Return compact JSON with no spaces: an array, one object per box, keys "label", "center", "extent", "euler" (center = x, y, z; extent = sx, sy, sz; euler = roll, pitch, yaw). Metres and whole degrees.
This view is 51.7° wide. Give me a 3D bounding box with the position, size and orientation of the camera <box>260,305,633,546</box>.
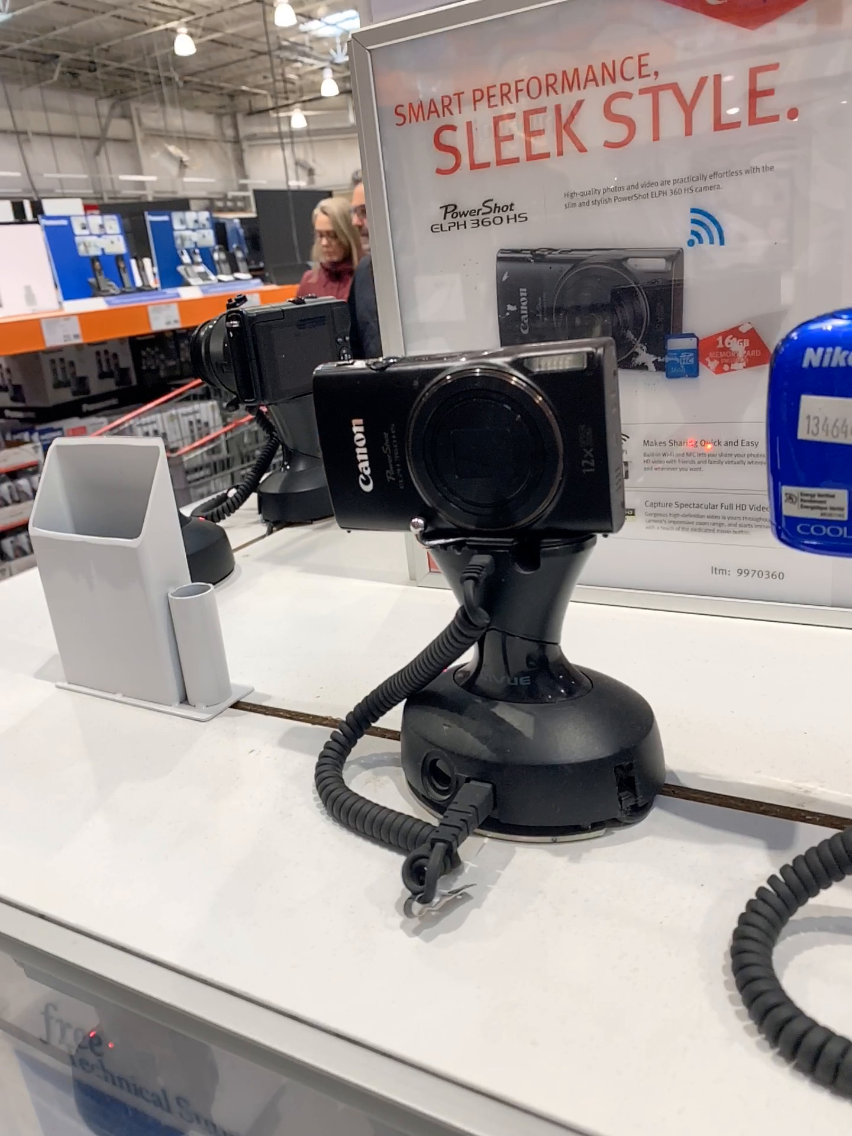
[{"label":"camera","center":[0.007,-0.043,0.266],"extent":[0.100,0.060,0.040],"euler":[3,20,25]}]
